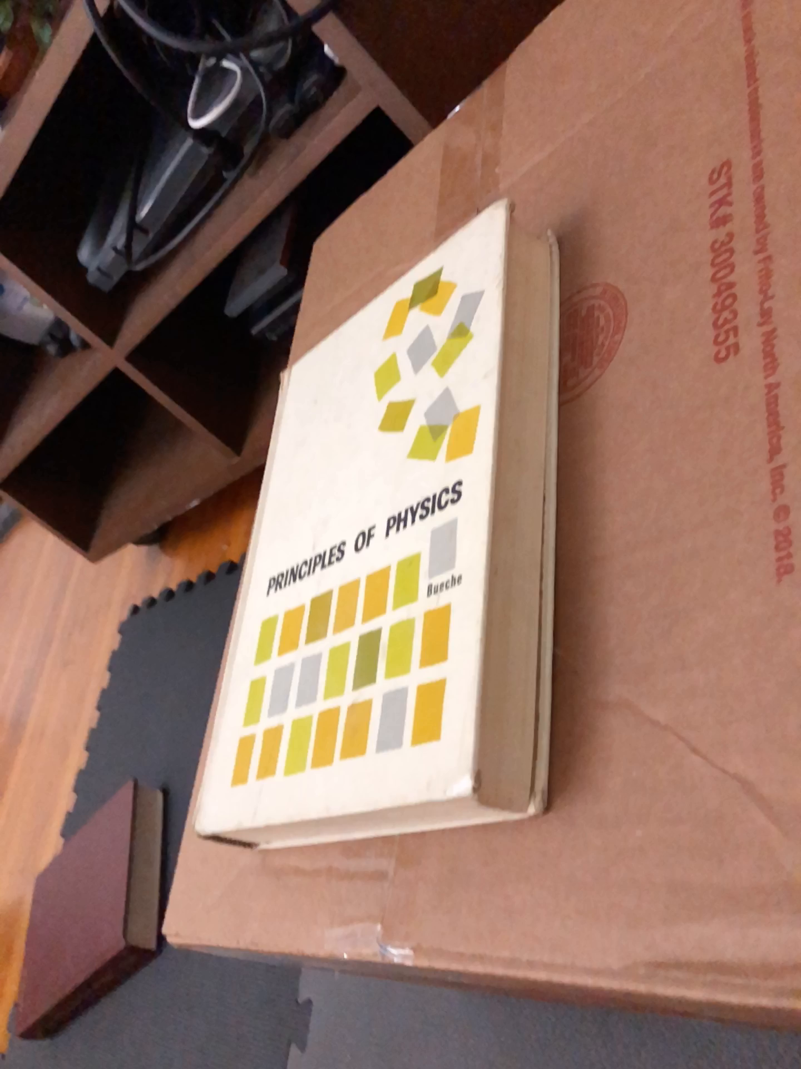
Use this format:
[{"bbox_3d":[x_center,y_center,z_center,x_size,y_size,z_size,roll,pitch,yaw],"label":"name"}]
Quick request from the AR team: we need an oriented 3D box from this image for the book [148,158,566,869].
[{"bbox_3d":[-0.017,-0.002,0.362,0.180,0.040,0.251,-26,48,46],"label":"book"}]
